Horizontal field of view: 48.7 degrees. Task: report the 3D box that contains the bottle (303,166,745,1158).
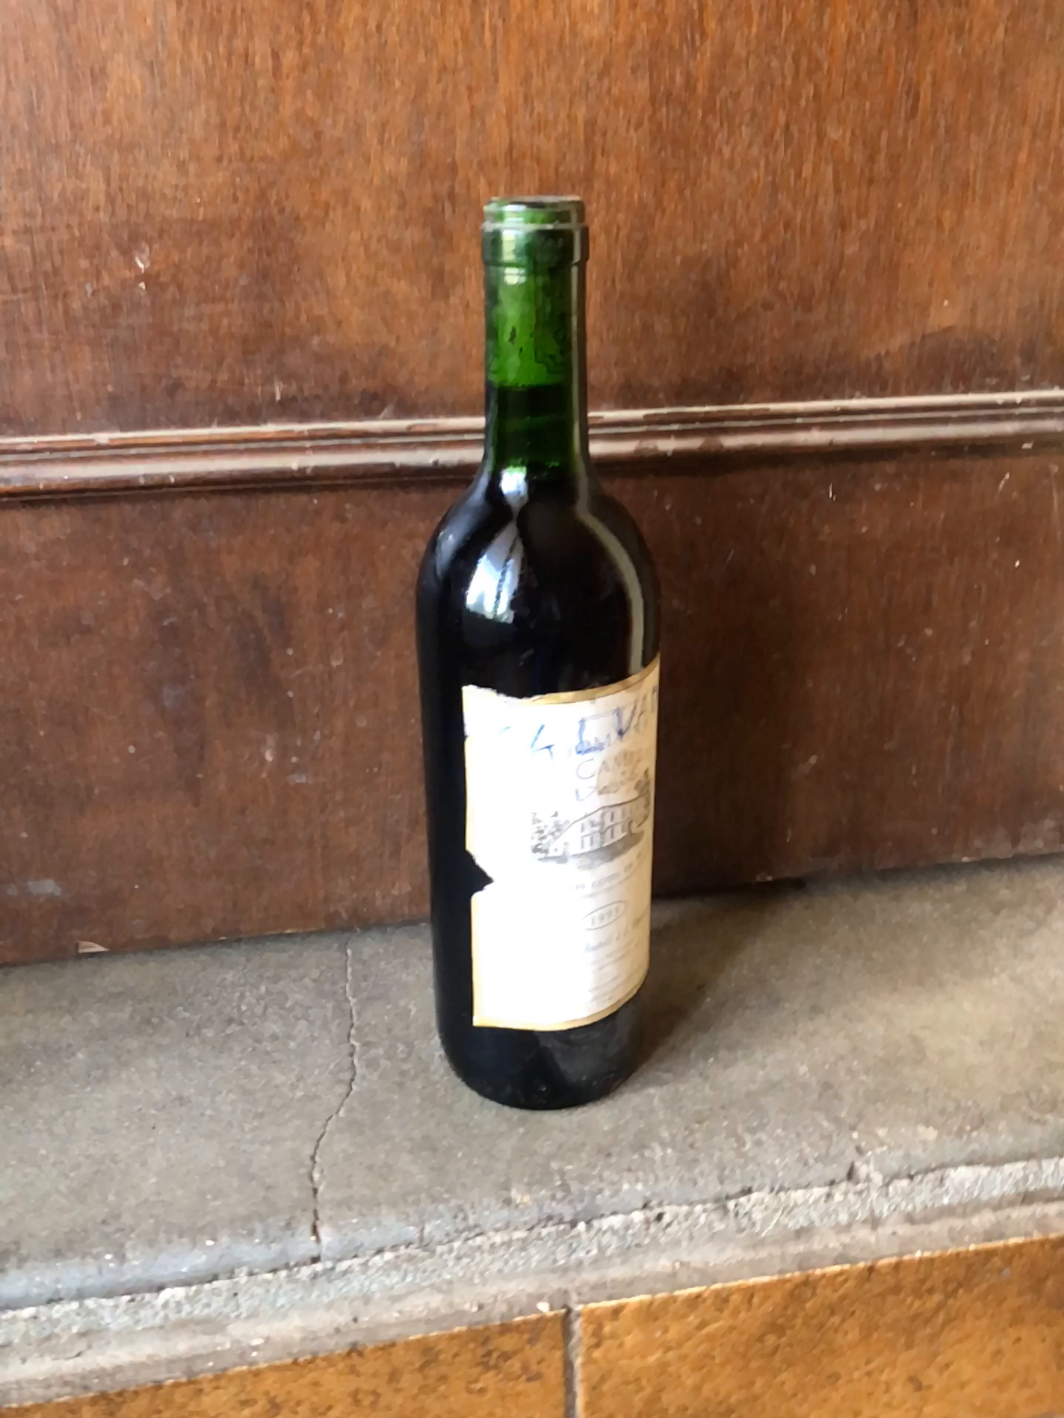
[{"bbox_3d":[-0.002,-0.010,0.358,0.080,0.278,0.080,0,25,0],"label":"bottle"}]
